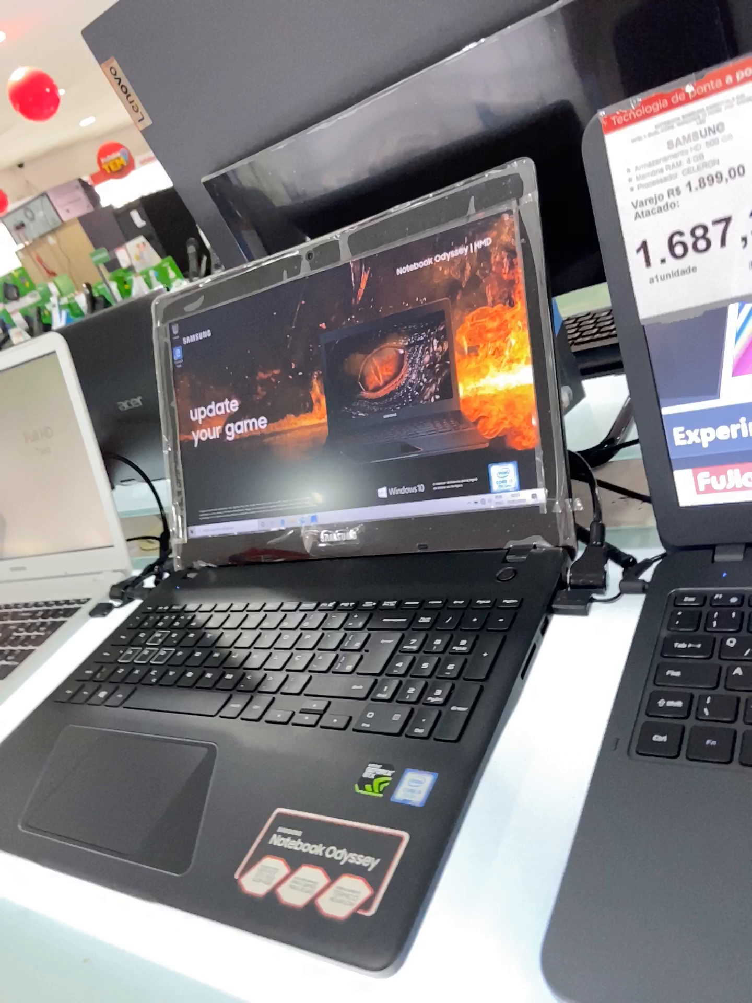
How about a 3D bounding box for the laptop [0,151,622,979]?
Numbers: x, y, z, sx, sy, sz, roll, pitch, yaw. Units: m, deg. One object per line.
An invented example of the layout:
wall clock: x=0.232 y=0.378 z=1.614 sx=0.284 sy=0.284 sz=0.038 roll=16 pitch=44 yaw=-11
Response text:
laptop: x=-0.100 y=-0.003 z=0.487 sx=0.373 sy=0.202 sz=0.393 roll=-7 pitch=30 yaw=36
